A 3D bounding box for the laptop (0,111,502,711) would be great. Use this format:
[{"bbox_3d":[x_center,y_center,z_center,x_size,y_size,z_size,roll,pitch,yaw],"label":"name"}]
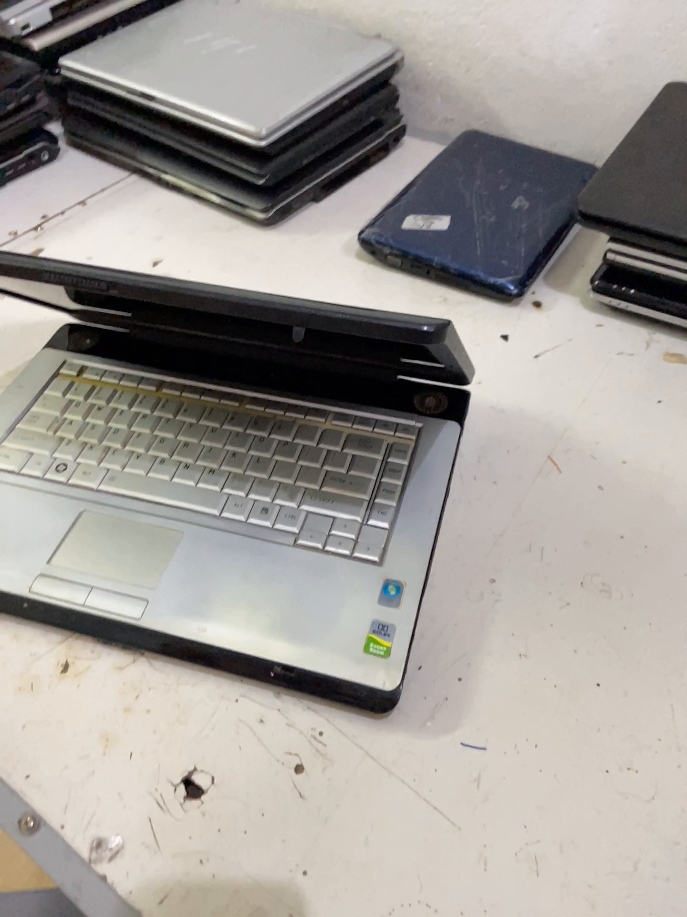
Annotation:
[{"bbox_3d":[-0.111,-0.051,0.438,0.356,0.185,0.258,11,51,13],"label":"laptop"}]
